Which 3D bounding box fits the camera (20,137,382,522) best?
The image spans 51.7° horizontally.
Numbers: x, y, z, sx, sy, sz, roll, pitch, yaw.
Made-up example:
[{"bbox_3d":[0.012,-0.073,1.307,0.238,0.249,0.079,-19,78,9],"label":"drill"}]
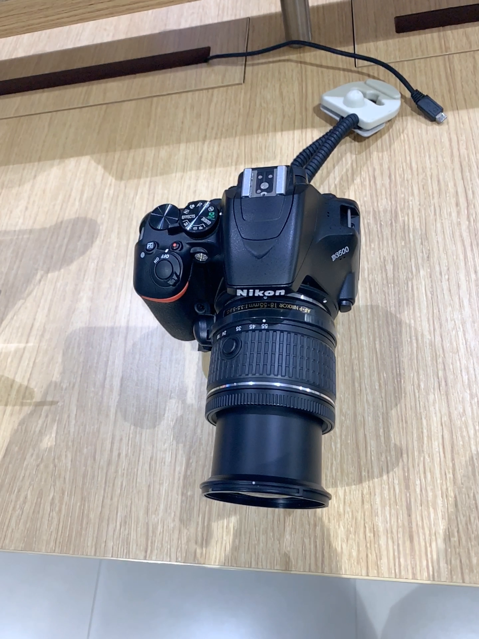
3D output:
[{"bbox_3d":[-0.002,0.013,0.224,0.115,0.100,0.136,-3,64,12],"label":"camera"}]
